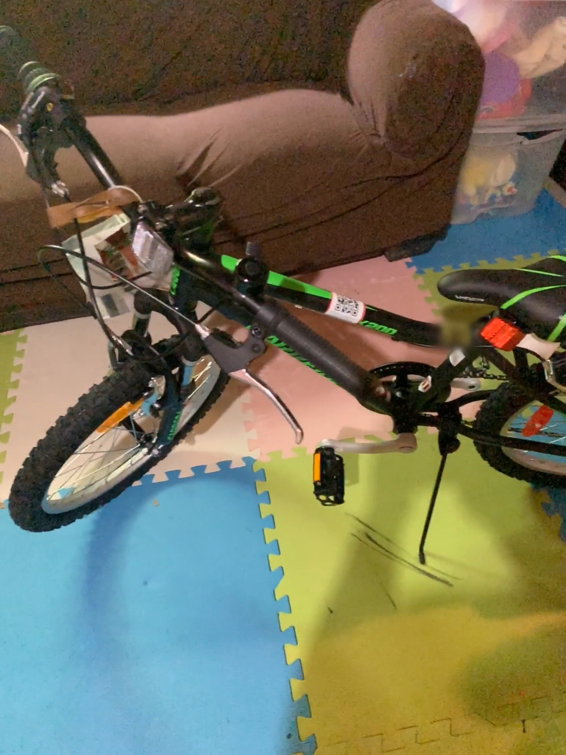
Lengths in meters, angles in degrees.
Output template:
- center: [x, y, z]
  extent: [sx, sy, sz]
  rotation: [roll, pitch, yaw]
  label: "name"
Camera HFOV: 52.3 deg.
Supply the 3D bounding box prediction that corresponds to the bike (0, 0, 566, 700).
- center: [0.168, 0.001, 0.877]
  extent: [1.268, 0.841, 0.536]
  rotation: [-7, 47, 0]
  label: "bike"
